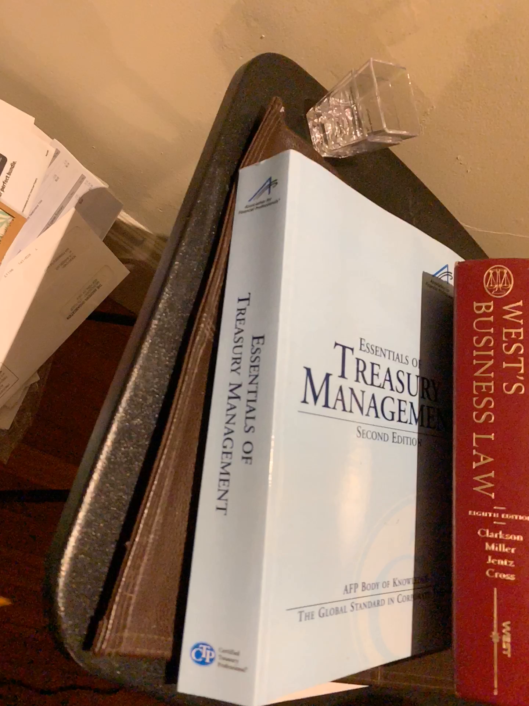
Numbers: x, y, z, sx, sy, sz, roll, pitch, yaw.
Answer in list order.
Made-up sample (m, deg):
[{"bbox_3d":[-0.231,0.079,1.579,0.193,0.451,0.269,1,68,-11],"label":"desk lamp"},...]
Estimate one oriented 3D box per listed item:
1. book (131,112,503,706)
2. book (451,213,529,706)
[{"bbox_3d":[0.057,0.044,0.325,0.221,0.070,0.270,18,71,-40],"label":"book"},{"bbox_3d":[0.169,0.075,0.390,0.211,0.050,0.270,34,58,-62],"label":"book"}]
